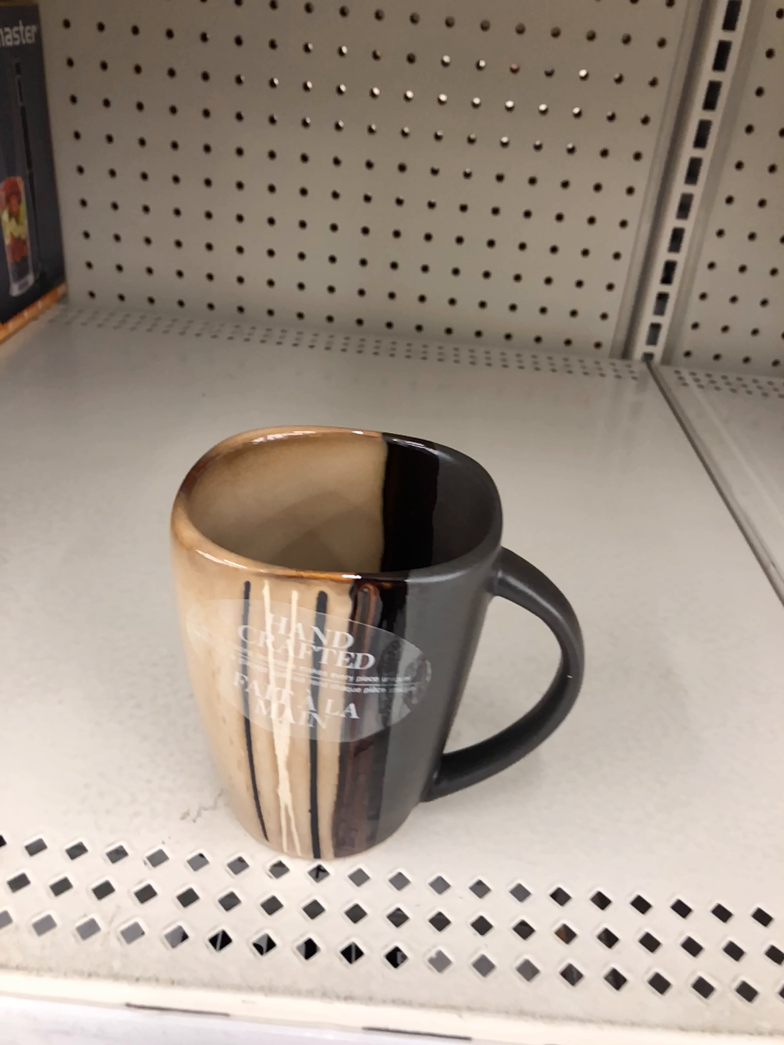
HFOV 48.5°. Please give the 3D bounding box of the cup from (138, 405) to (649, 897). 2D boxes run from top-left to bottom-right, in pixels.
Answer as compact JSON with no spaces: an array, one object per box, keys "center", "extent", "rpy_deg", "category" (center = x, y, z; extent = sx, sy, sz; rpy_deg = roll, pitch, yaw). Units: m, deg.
[{"center":[-0.002,0.037,0.269],"extent":[0.120,0.110,0.087],"rpy_deg":[5,31,-1],"category":"cup"}]
